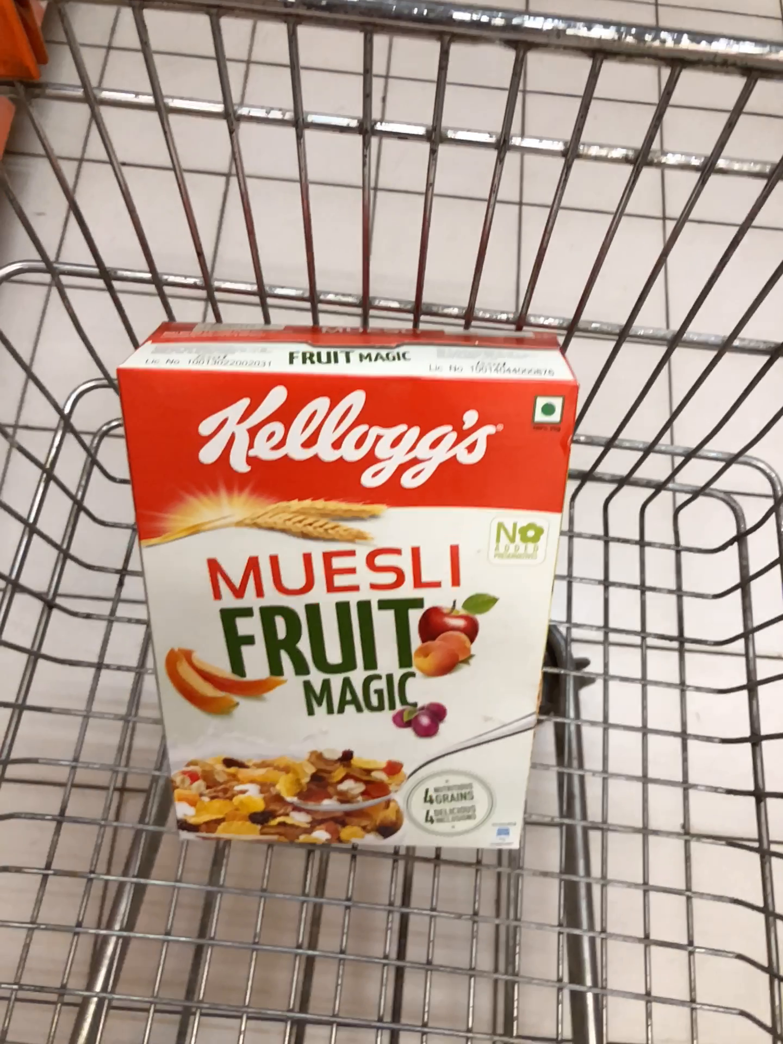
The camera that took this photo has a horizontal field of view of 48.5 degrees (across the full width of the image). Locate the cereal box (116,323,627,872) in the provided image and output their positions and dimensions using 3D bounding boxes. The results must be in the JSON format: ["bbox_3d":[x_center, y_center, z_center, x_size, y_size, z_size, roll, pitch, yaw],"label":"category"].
[{"bbox_3d":[-0.014,0.048,0.438,0.200,0.269,0.080,2,27,-2],"label":"cereal box"}]
